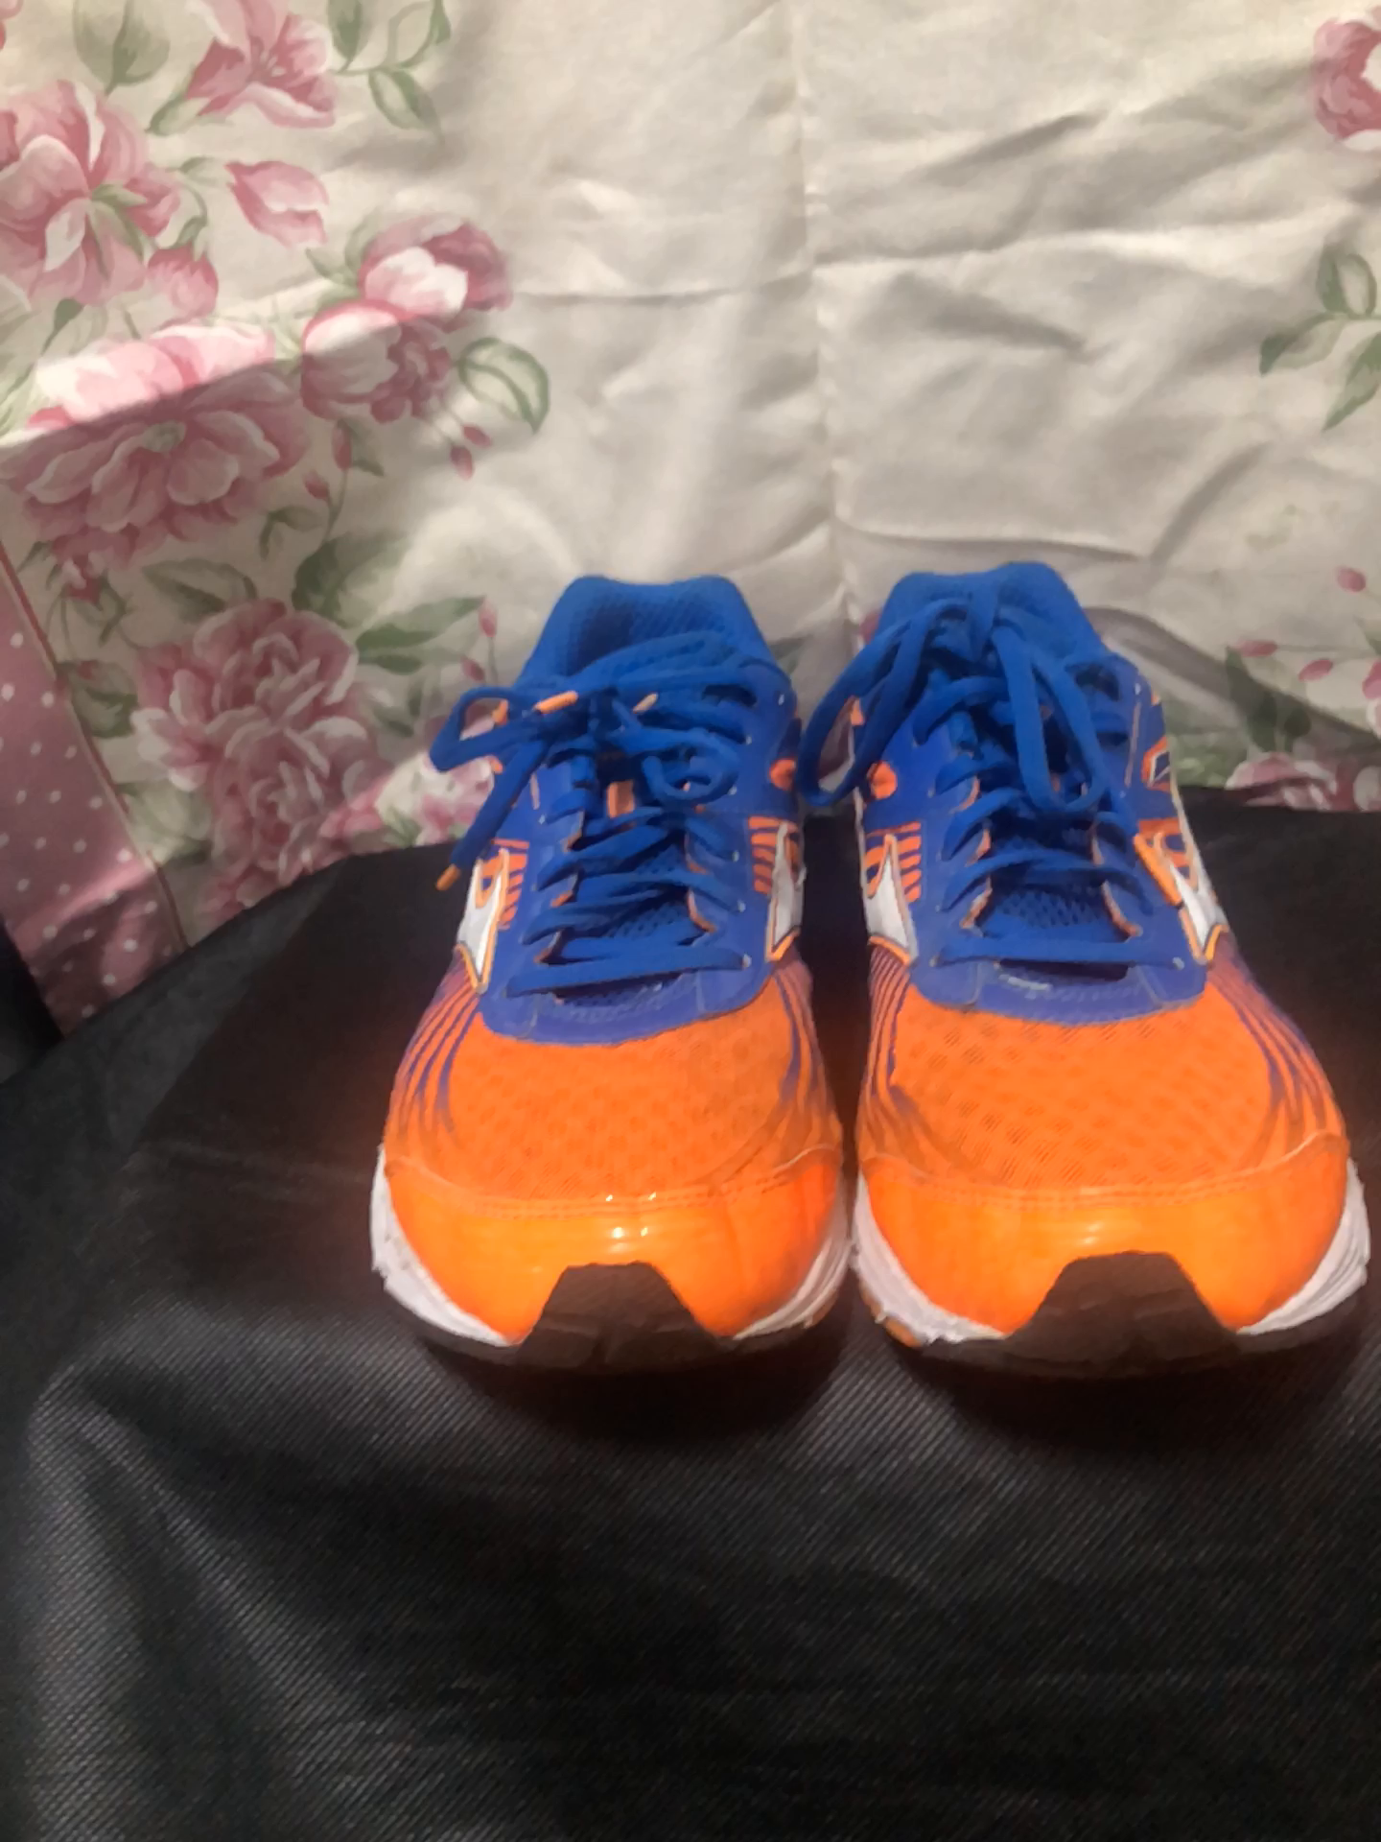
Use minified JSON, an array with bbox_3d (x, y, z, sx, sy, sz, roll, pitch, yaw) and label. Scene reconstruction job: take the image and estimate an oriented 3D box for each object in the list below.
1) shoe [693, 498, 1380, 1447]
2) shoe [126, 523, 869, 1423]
[{"bbox_3d":[0.064,-0.011,0.331,0.110,0.109,0.222,-2,26,4],"label":"shoe"},{"bbox_3d":[-0.021,-0.009,0.350,0.110,0.109,0.222,-2,26,4],"label":"shoe"}]
